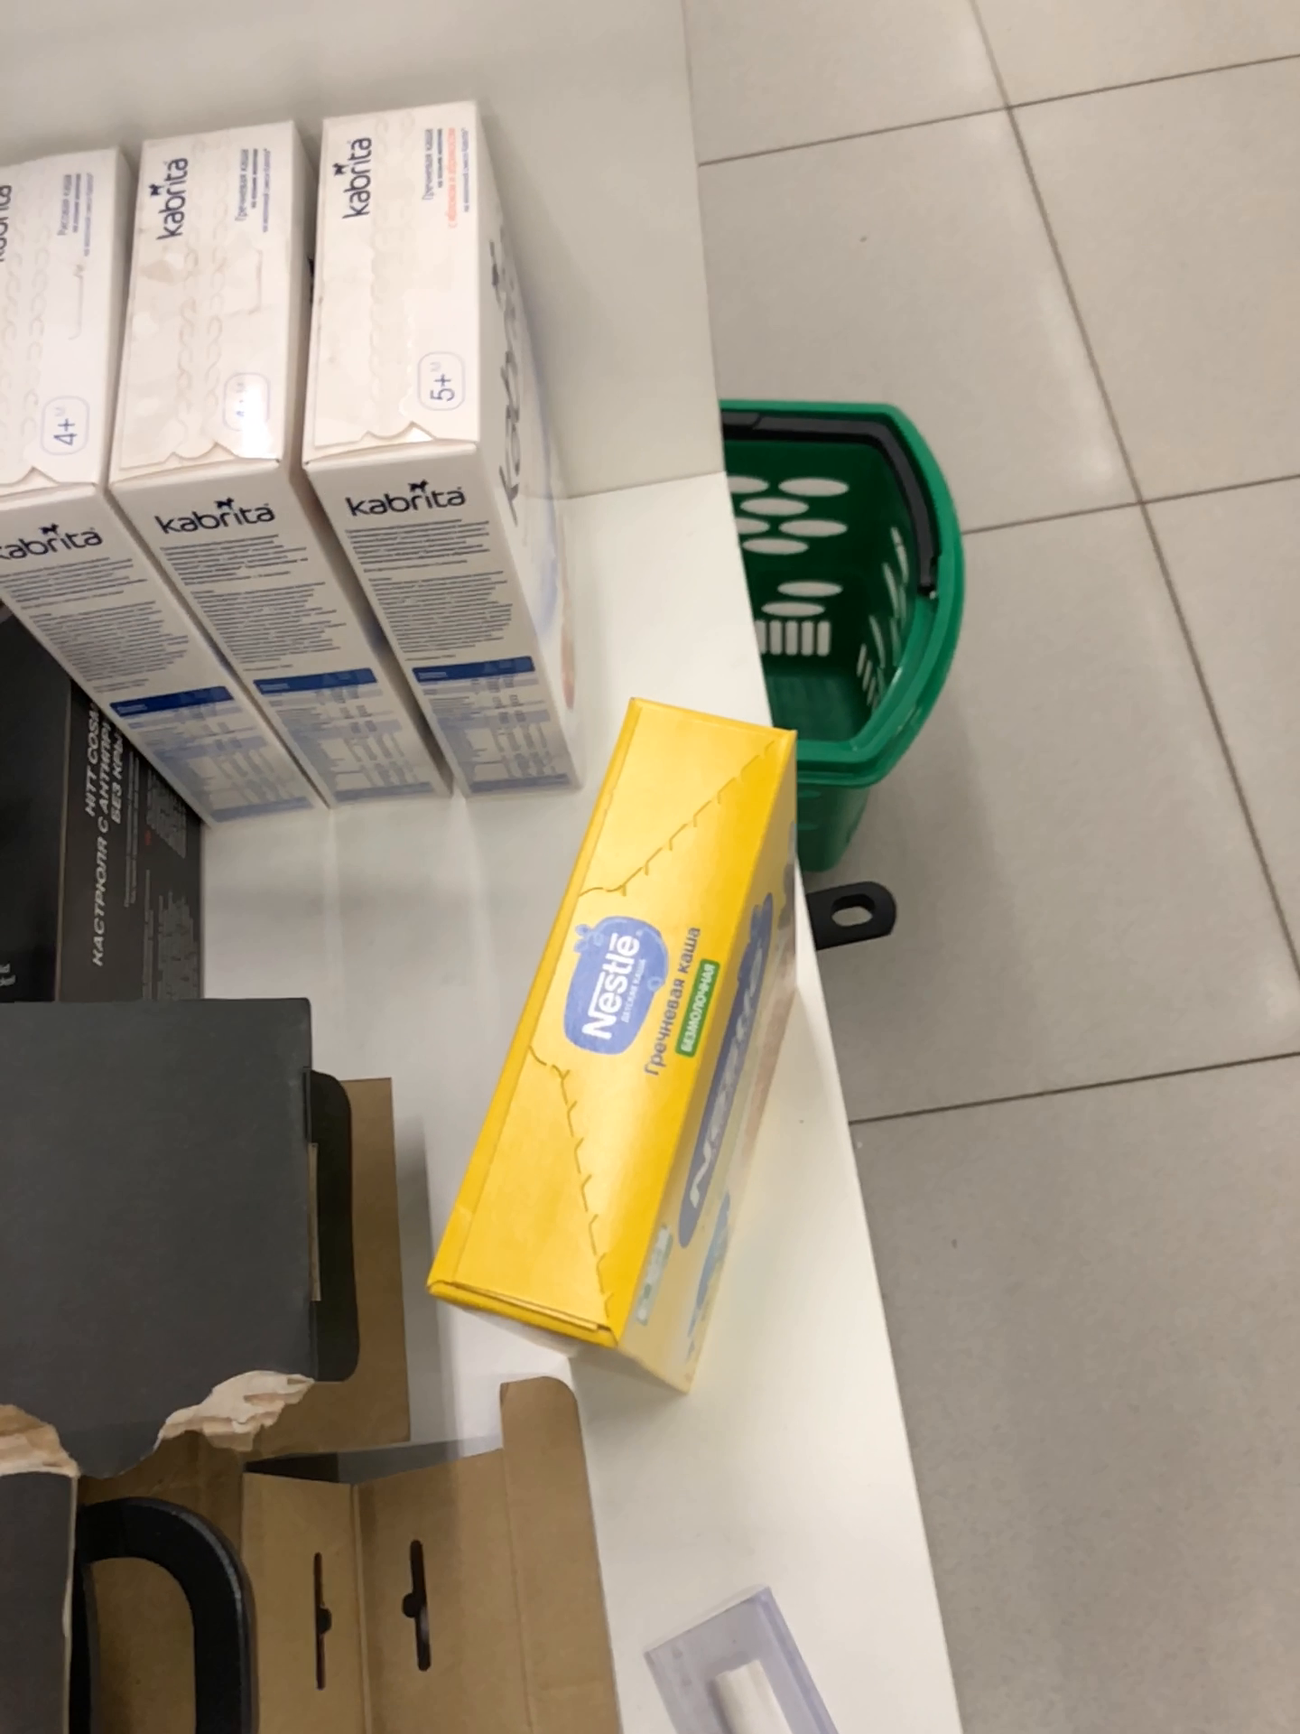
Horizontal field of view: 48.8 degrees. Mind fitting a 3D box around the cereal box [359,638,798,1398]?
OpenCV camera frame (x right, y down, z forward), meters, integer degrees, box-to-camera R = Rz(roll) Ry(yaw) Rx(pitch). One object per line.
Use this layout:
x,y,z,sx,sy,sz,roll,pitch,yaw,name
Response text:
-0.003,0.058,0.398,0.050,0.200,0.150,13,69,12,cereal box
